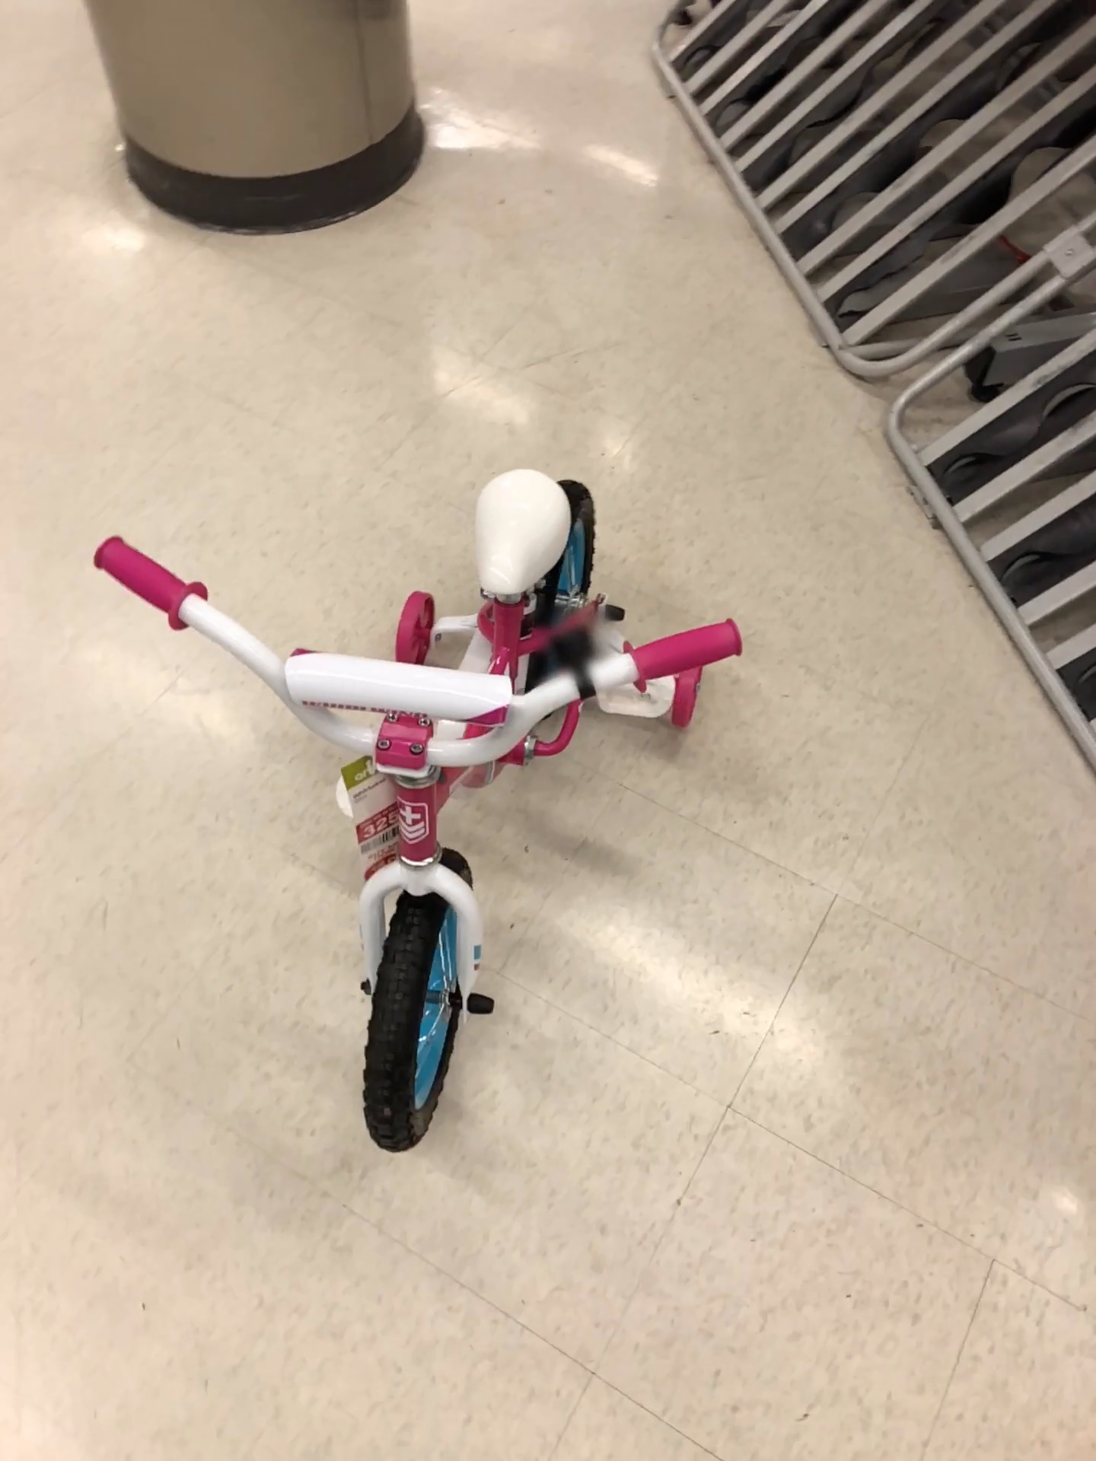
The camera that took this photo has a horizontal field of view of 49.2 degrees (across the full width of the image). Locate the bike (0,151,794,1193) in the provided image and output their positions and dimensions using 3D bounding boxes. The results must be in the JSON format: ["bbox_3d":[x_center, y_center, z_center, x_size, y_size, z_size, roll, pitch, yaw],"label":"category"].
[{"bbox_3d":[-0.091,-0.063,1.206,0.461,0.625,0.818,12,54,7],"label":"bike"}]
